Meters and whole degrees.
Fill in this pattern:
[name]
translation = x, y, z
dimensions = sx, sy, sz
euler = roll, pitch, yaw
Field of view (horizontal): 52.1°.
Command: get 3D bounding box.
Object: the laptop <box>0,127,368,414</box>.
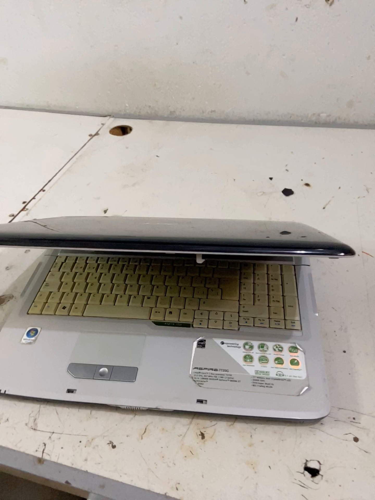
[laptop]
translation = -0.037, 0.003, 0.452
dimensions = 0.380, 0.164, 0.279
euler = 1, 43, 9
